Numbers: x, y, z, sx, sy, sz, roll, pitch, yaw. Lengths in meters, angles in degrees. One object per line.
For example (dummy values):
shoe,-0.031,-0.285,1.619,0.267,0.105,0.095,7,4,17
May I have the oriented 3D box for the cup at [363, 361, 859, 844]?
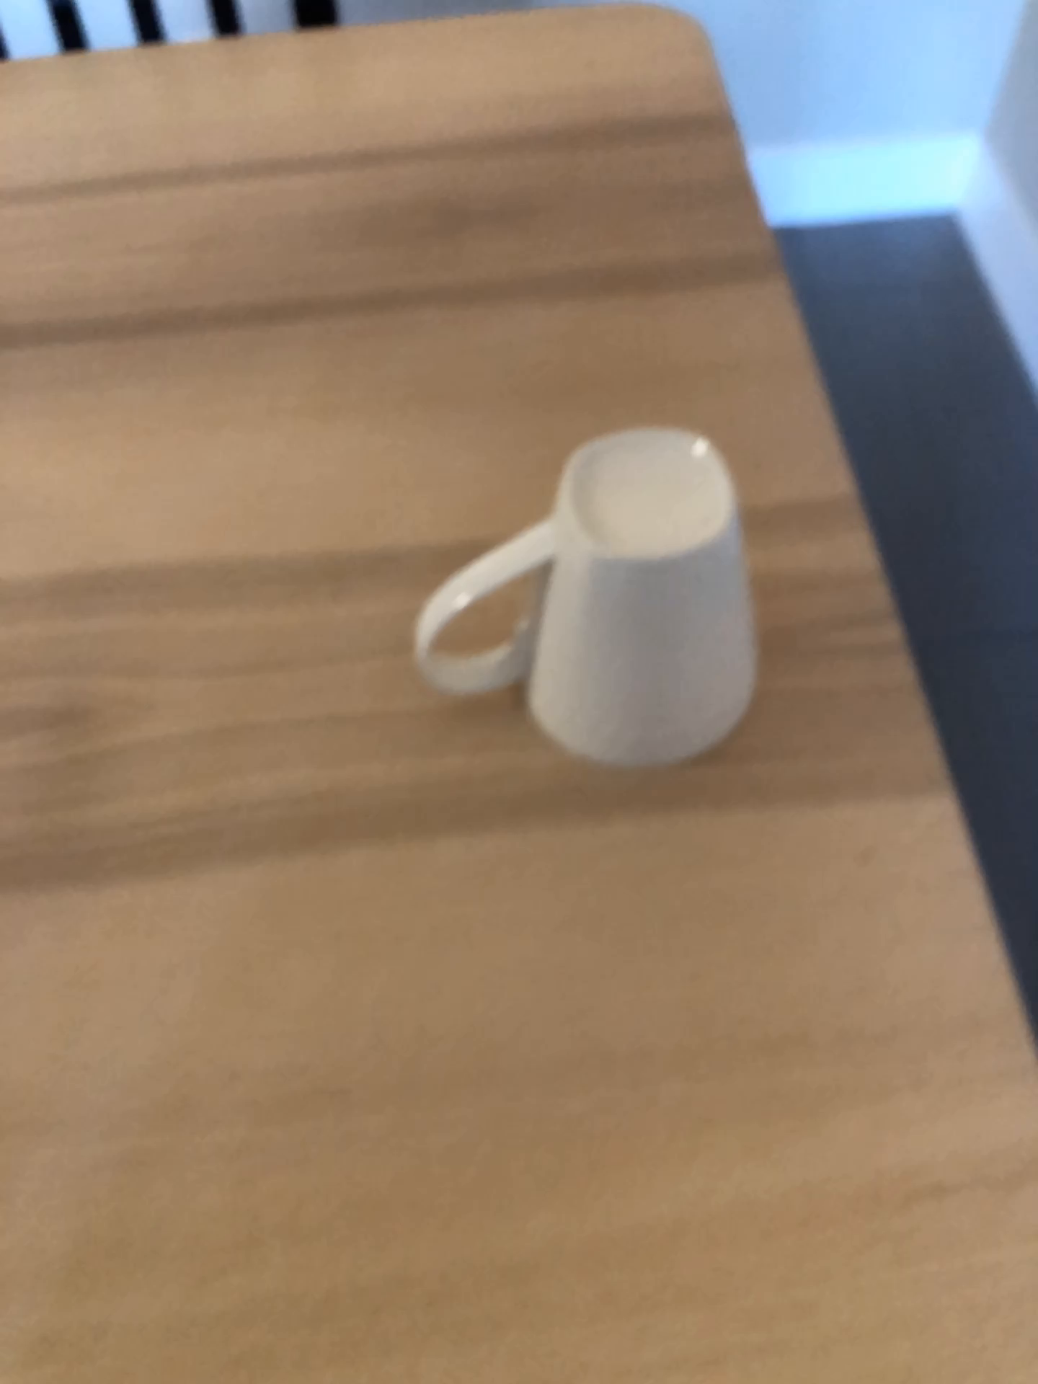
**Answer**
cup,0.028,-0.029,0.435,0.140,0.120,0.100,-12,58,-5
